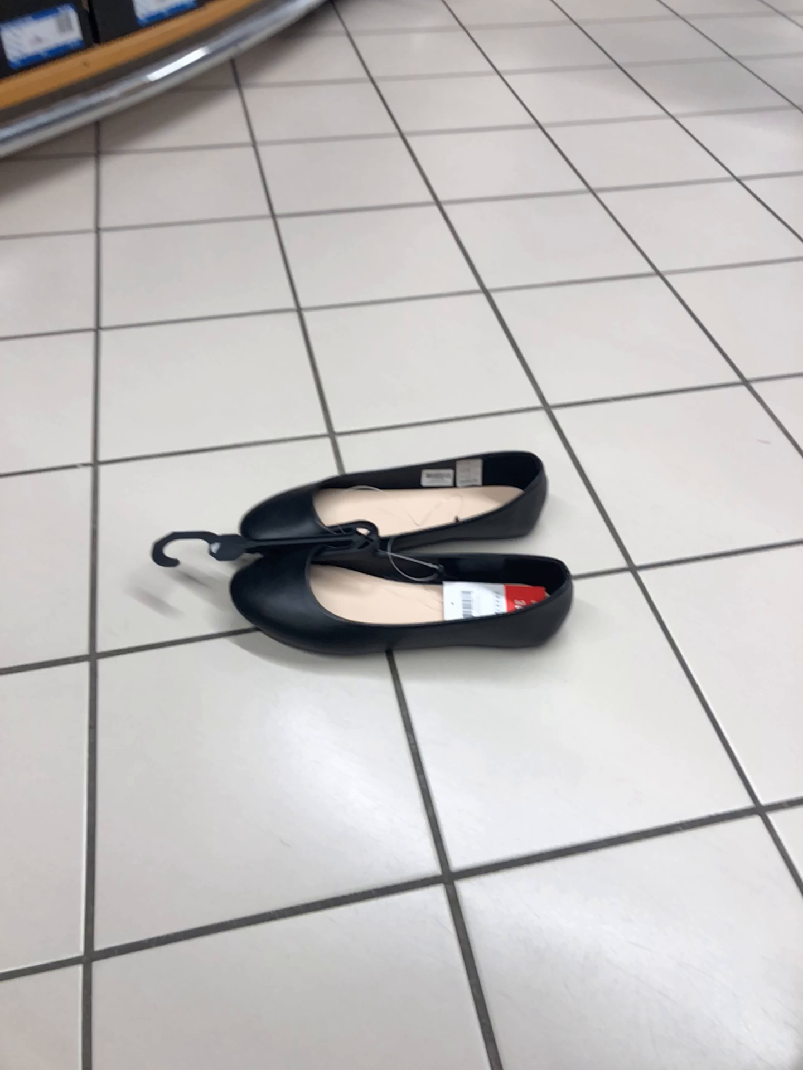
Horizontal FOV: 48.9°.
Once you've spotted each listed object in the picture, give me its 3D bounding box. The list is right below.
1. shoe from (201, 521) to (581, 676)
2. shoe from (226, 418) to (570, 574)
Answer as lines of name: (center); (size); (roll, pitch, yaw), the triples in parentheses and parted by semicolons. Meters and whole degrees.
shoe: (-0.006, 0.045, 0.630); (0.250, 0.060, 0.080); (2, 47, 0)
shoe: (-0.005, -0.033, 0.688); (0.250, 0.060, 0.080); (-6, 47, -7)
